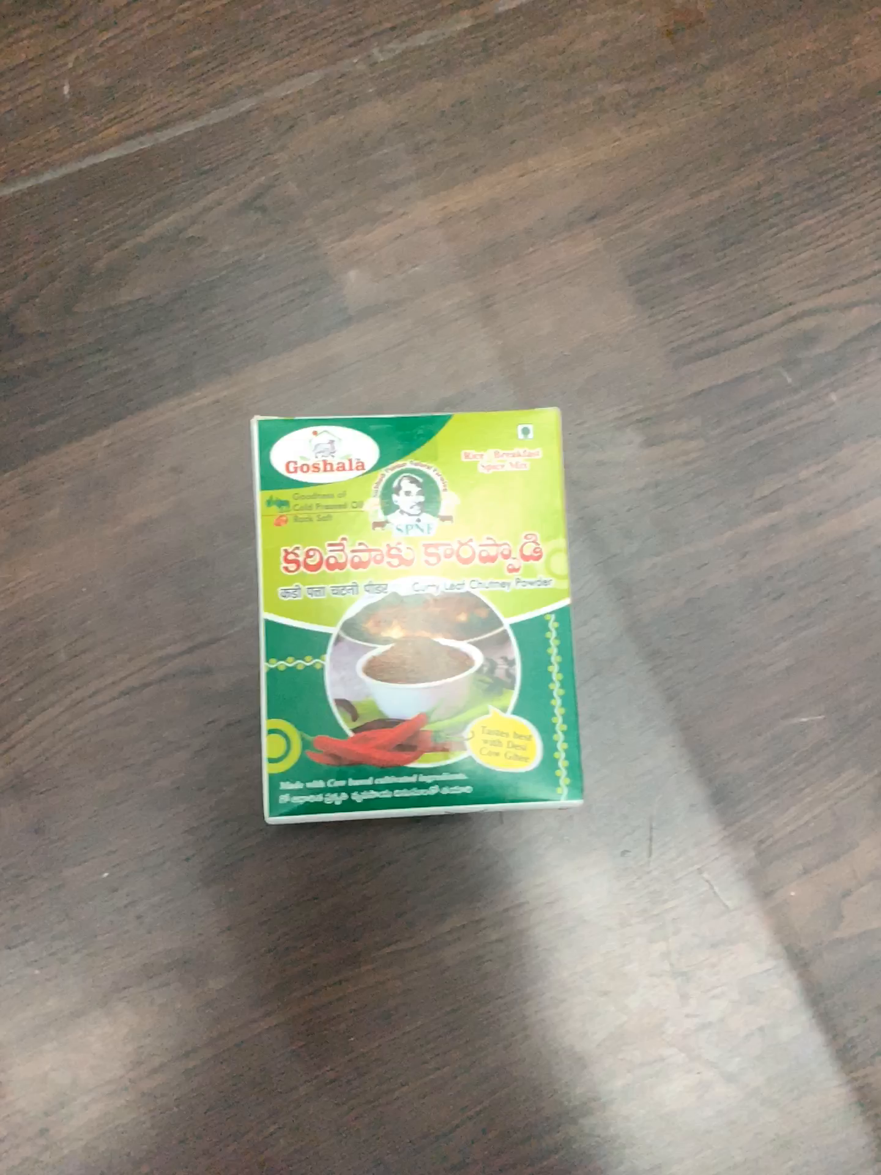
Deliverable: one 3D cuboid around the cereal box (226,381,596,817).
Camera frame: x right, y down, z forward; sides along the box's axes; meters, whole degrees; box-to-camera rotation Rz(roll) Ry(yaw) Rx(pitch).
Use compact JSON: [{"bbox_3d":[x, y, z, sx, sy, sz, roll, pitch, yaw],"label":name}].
[{"bbox_3d":[-0.010,0.004,0.276,0.100,0.040,0.120,-2,82,-1],"label":"cereal box"}]
